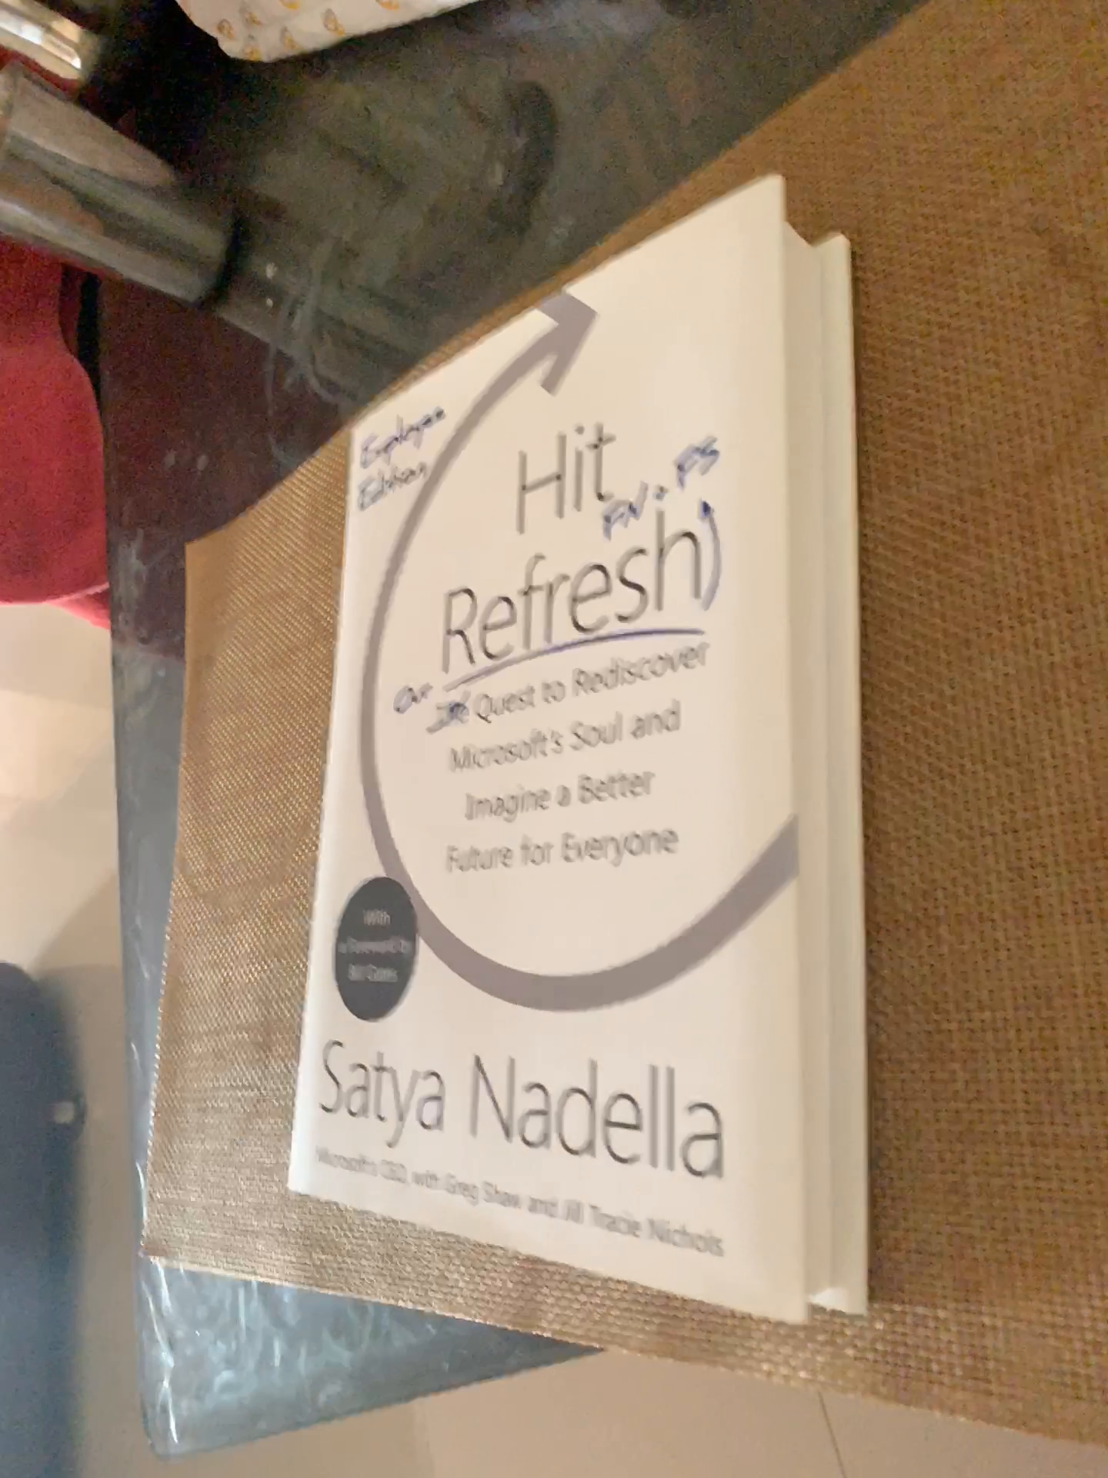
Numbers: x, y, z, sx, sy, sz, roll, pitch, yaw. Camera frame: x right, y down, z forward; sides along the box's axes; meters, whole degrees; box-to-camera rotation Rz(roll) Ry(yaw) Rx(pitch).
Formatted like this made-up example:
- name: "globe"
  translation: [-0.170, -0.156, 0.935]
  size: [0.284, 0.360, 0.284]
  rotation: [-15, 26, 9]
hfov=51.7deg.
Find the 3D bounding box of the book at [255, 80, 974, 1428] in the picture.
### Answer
- name: "book"
  translation: [0.004, 0.002, 0.289]
  size: [0.191, 0.040, 0.250]
  rotation: [-10, 71, 47]
